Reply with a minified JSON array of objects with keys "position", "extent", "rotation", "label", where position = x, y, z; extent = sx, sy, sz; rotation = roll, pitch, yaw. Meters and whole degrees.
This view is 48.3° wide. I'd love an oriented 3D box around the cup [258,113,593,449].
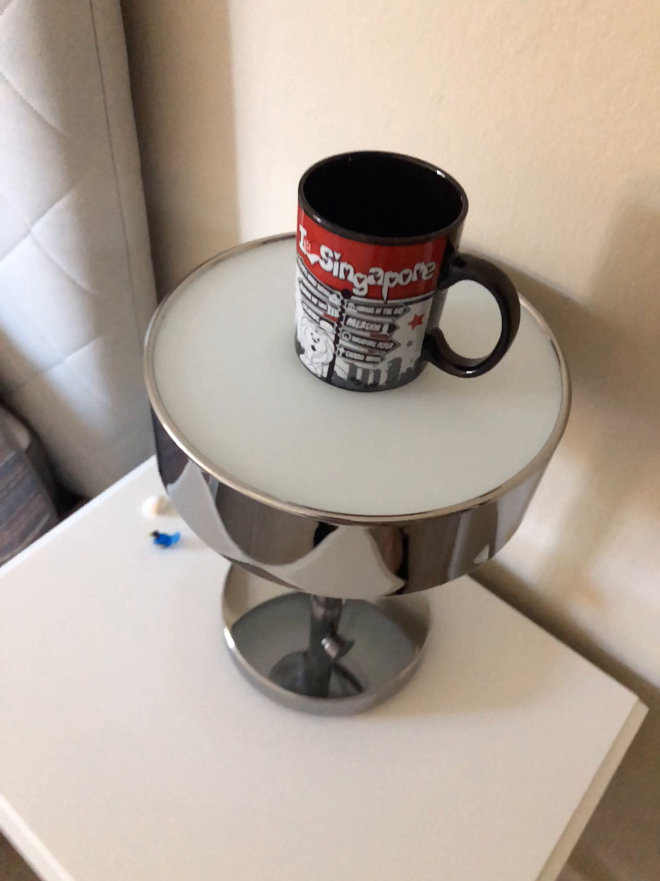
[{"position":[0.043,-0.083,0.375],"extent":[0.130,0.099,0.090],"rotation":[23,50,15],"label":"cup"}]
